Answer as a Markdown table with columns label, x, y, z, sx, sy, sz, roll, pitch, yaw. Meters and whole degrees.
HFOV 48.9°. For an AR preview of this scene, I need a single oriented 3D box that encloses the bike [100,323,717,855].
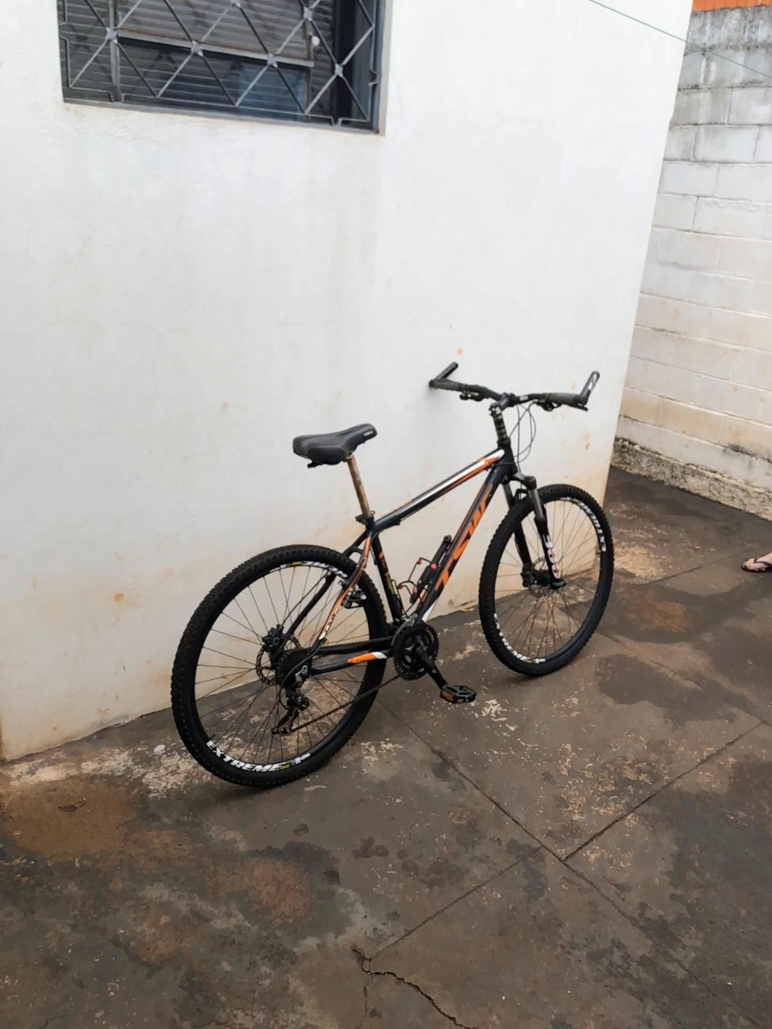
| label | x | y | z | sx | sy | sz | roll | pitch | yaw |
| --- | --- | --- | --- | --- | --- | --- | --- | --- | --- |
| bike | 0.133 | 0.053 | 2.692 | 1.768 | 1.085 | 0.723 | -14 | 27 | -37 |
